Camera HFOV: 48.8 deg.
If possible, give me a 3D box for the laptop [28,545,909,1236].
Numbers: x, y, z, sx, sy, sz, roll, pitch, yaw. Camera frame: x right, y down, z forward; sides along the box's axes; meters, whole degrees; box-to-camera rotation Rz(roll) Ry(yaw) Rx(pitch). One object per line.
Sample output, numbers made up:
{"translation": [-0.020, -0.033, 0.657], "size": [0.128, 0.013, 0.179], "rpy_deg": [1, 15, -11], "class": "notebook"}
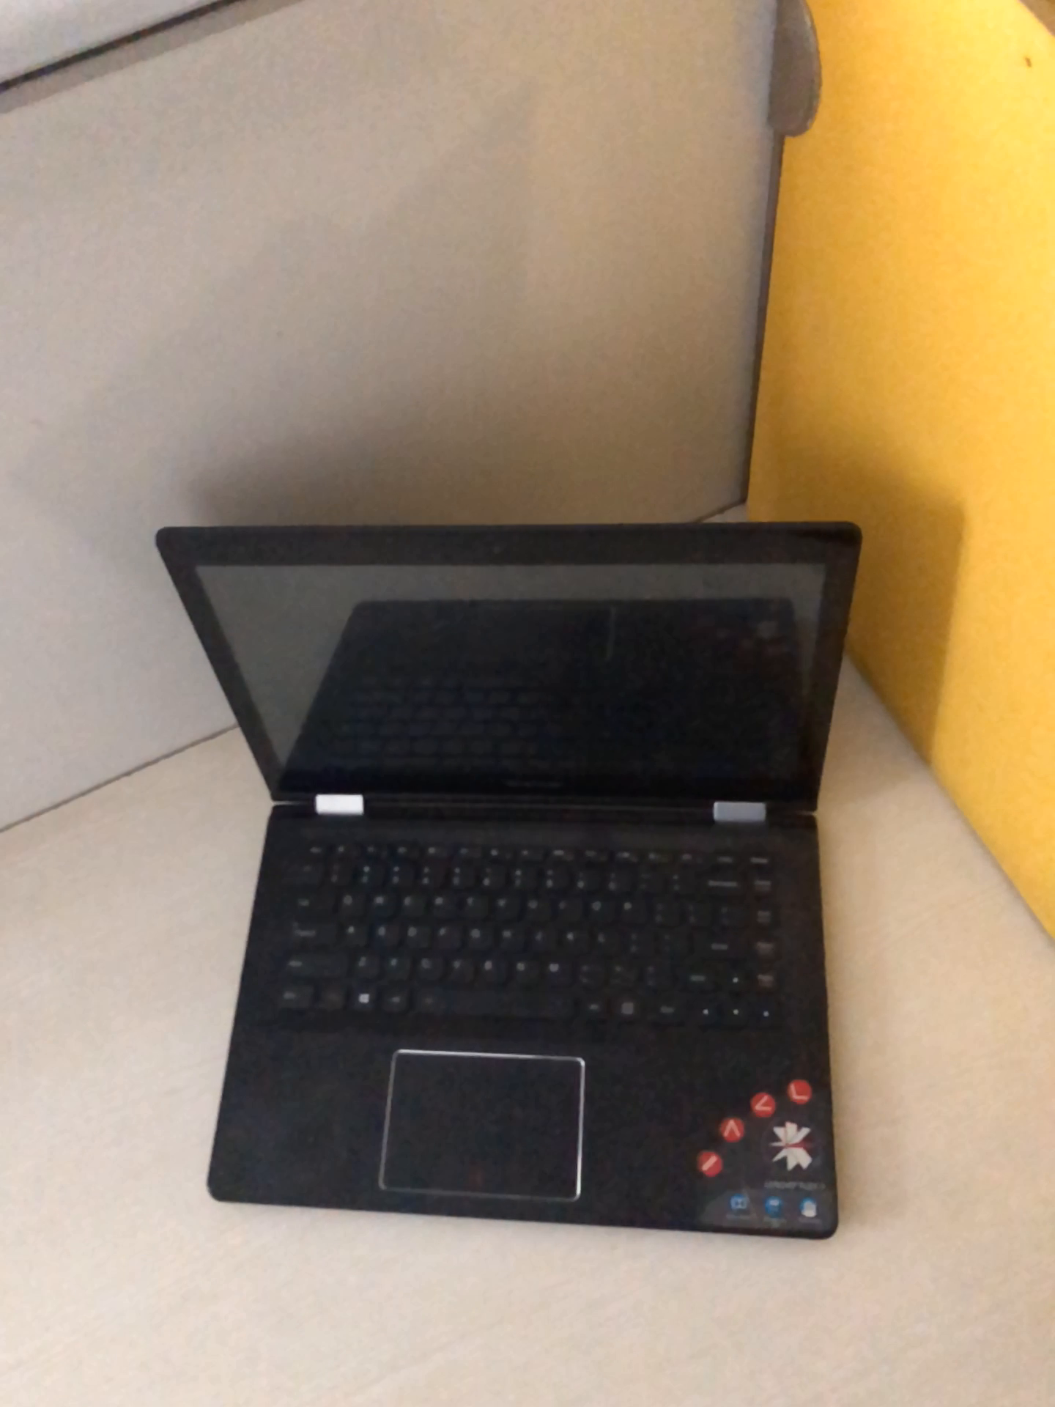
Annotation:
{"translation": [-0.009, 0.096, 0.566], "size": [0.311, 0.226, 0.264], "rpy_deg": [1, 62, 7], "class": "laptop"}
